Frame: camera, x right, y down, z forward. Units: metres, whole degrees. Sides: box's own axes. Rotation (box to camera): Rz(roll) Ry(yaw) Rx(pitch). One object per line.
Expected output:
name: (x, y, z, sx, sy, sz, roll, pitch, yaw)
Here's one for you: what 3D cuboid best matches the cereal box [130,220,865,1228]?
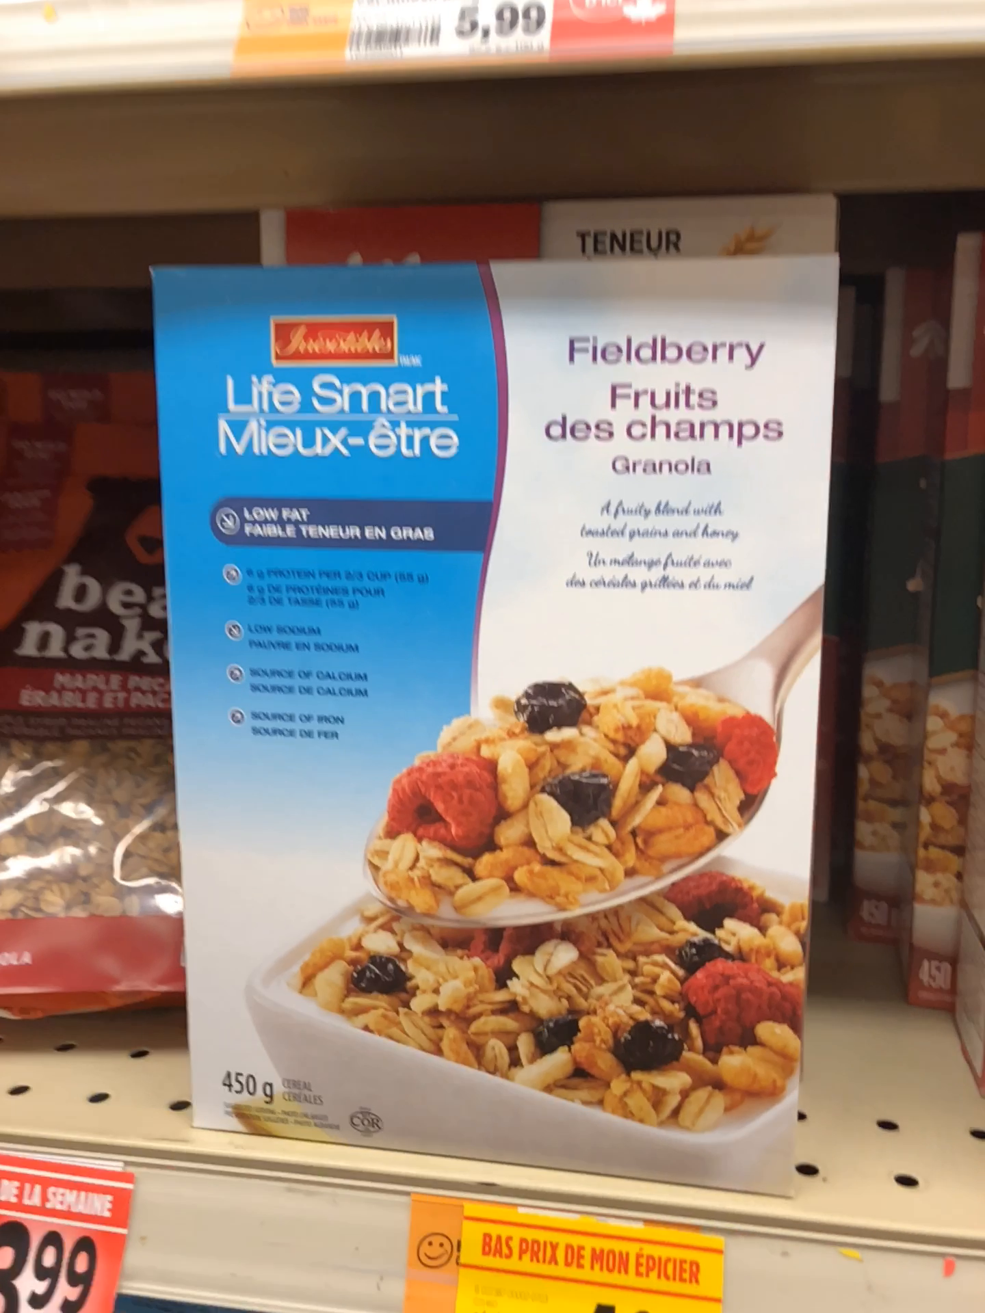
cereal box: (0.000, 0.017, 0.293, 0.170, 0.239, 0.050, 2, 10, 10)
